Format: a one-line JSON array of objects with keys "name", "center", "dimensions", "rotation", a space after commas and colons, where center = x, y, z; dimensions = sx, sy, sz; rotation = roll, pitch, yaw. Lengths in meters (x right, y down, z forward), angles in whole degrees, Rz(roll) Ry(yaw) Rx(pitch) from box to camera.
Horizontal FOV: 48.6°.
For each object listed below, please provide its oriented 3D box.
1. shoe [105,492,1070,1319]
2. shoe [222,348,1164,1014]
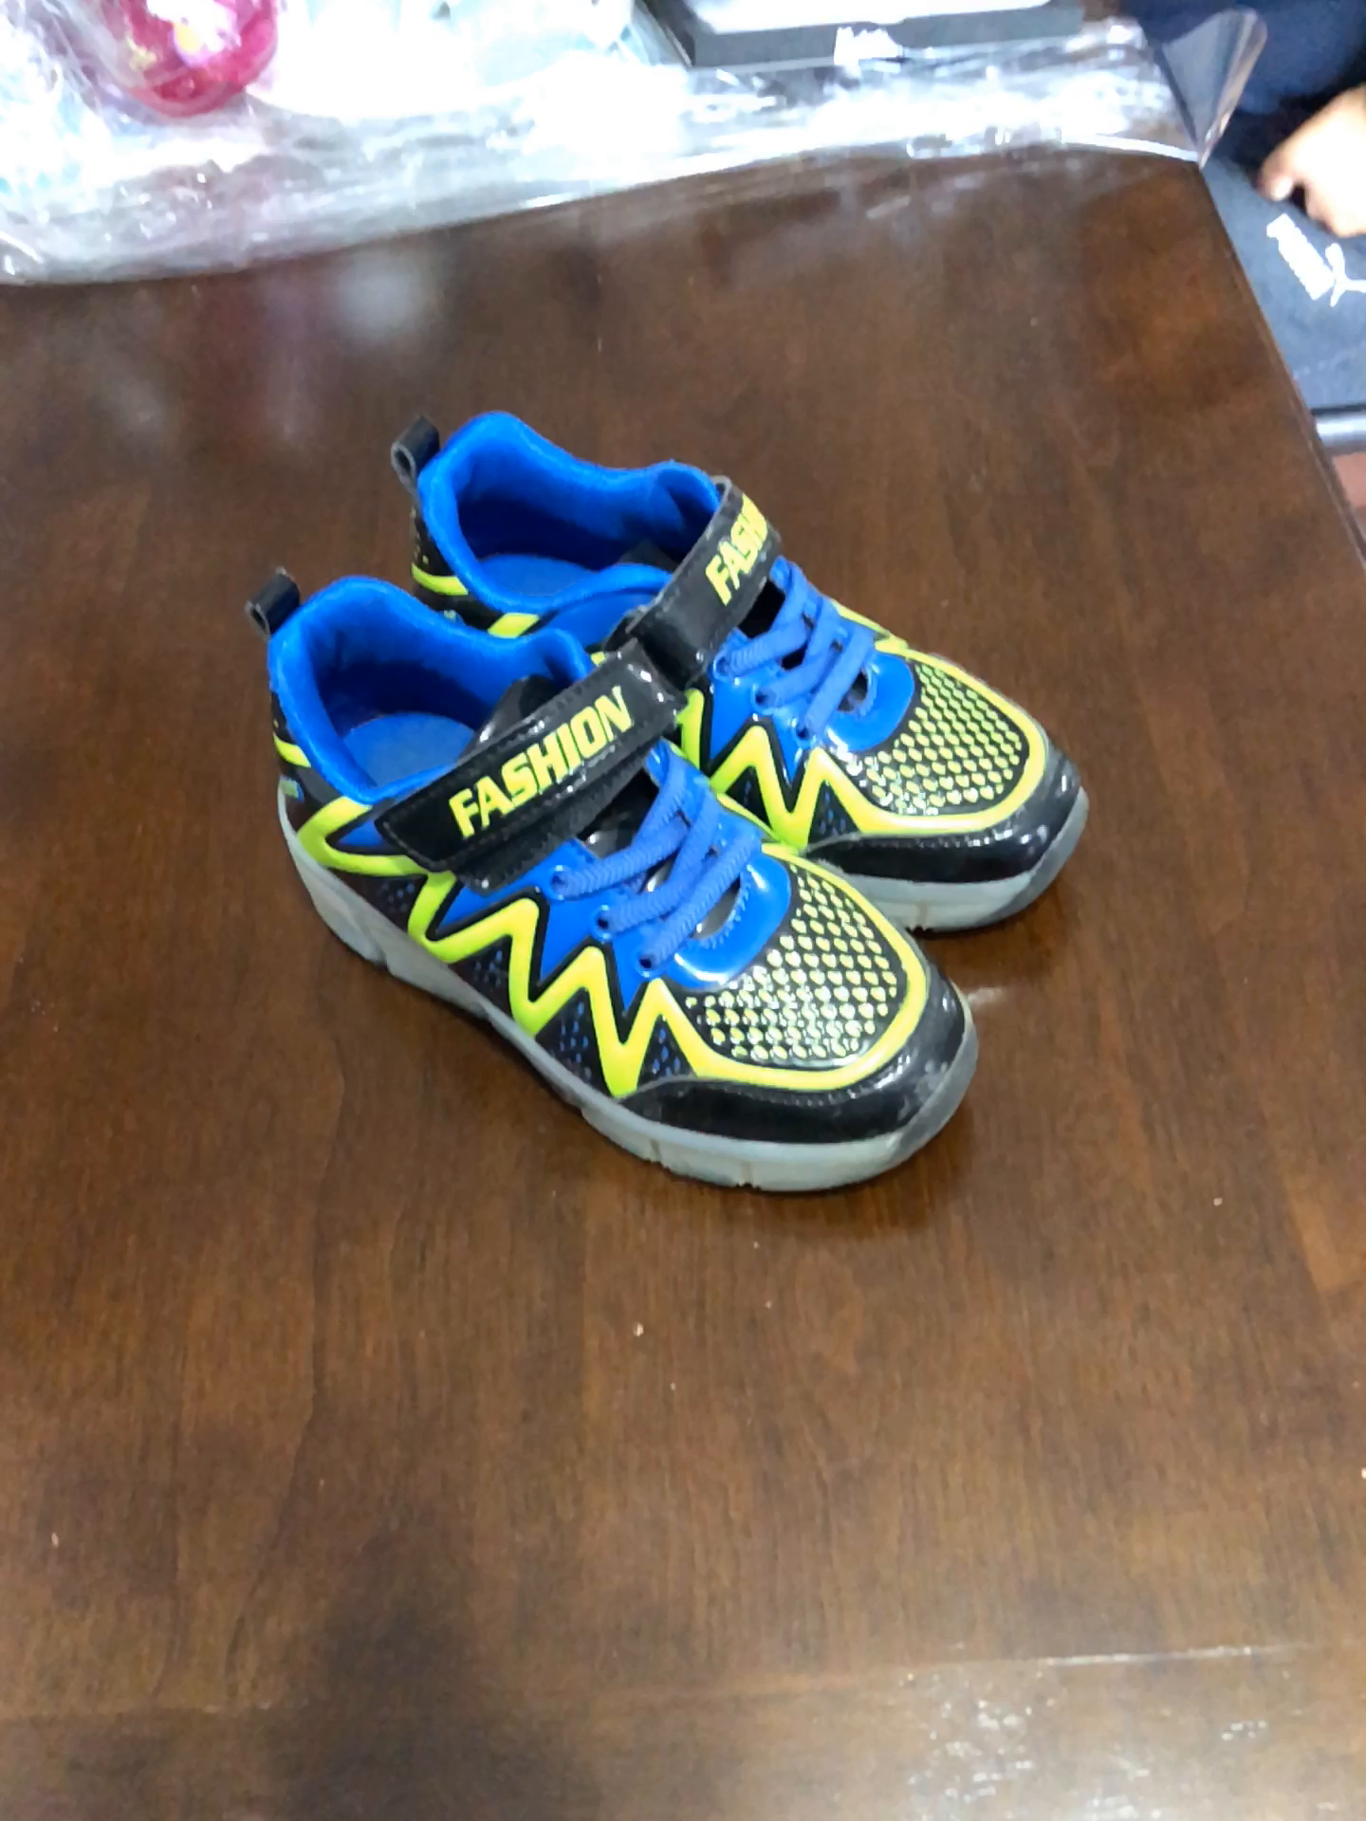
[{"name": "shoe", "center": [-0.022, -0.006, 0.404], "dimensions": [0.210, 0.120, 0.100], "rotation": [24, 61, 23]}, {"name": "shoe", "center": [0.005, -0.070, 0.442], "dimensions": [0.230, 0.120, 0.090], "rotation": [16, 58, 19]}]
